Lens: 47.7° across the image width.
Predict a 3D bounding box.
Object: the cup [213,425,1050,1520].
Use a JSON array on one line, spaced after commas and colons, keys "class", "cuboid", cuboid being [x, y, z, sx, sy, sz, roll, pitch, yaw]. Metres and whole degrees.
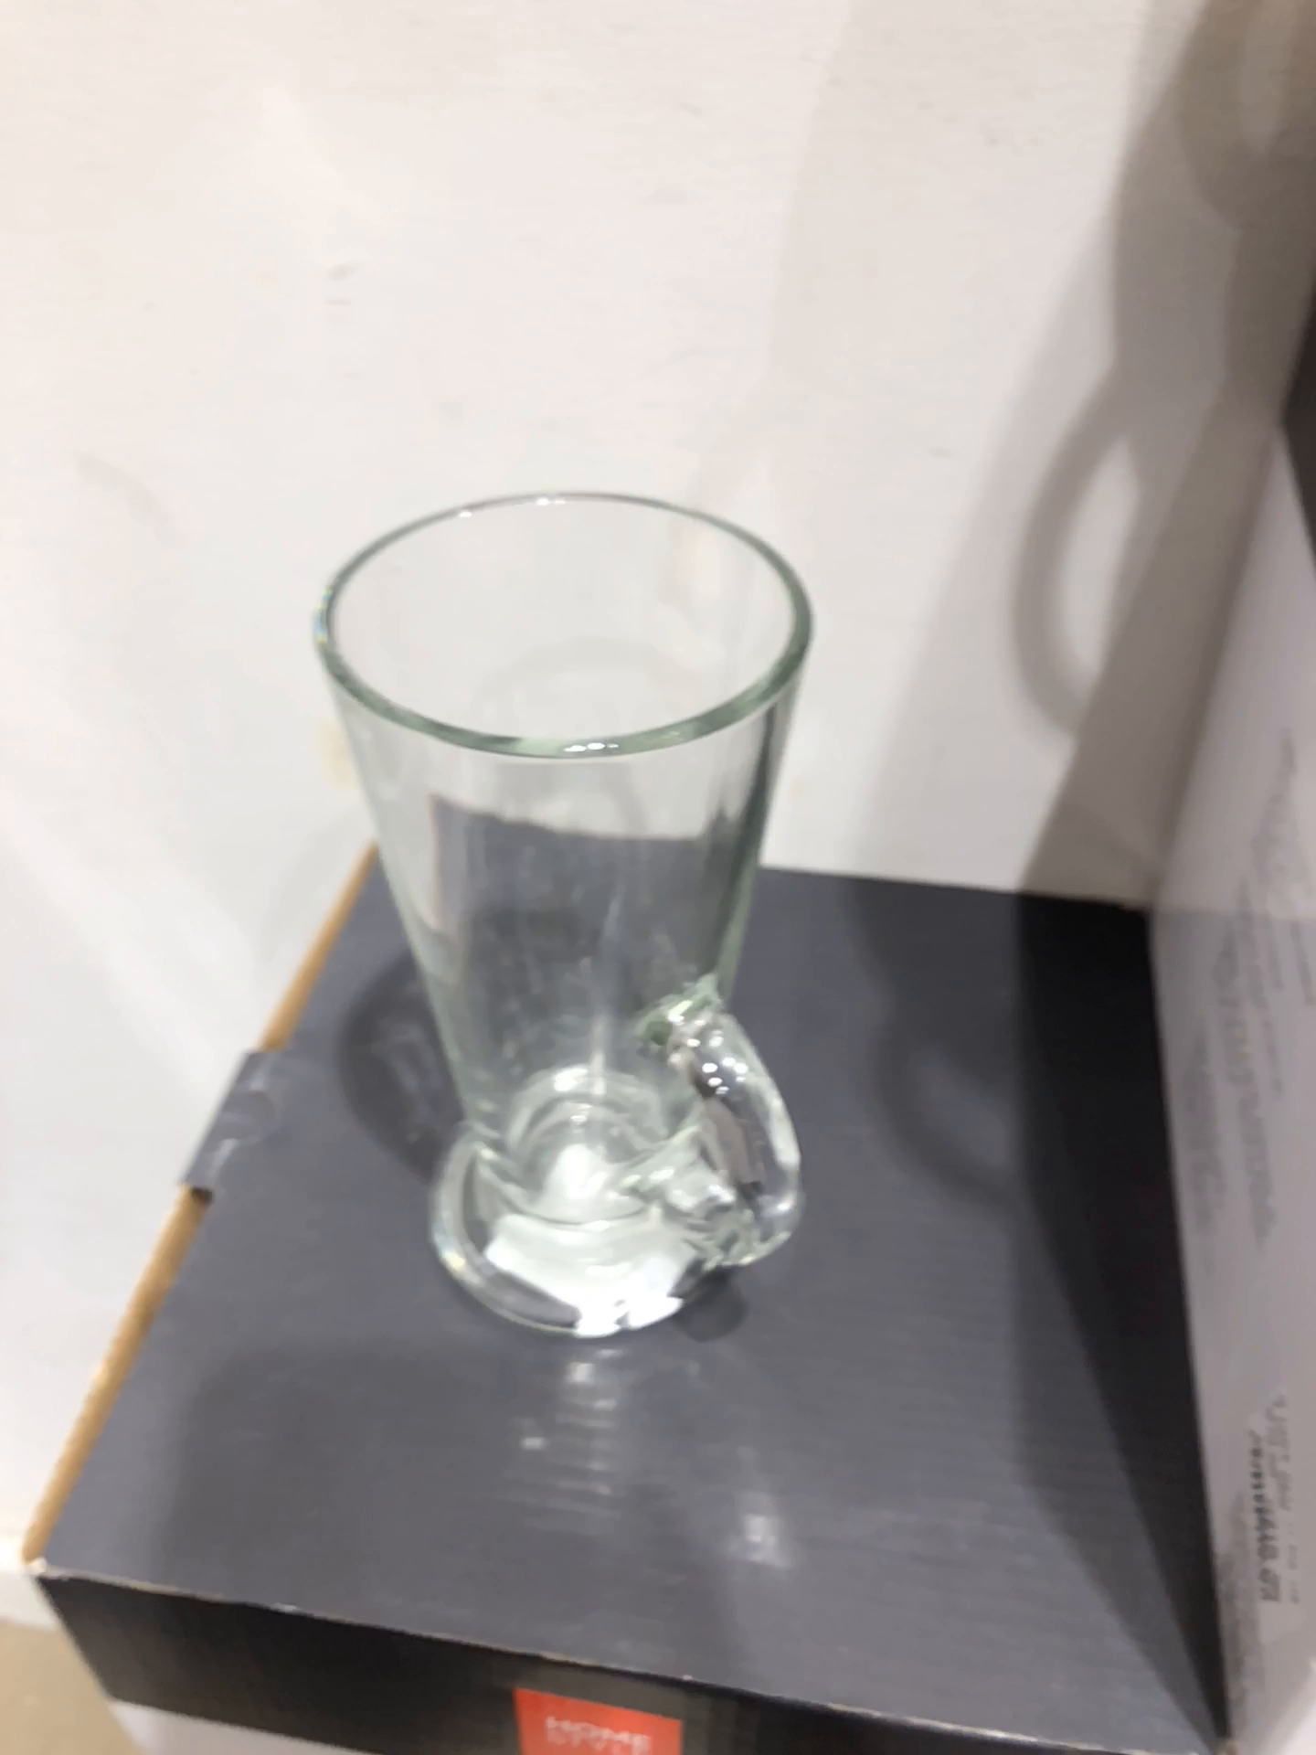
[{"class": "cup", "cuboid": [-0.005, 0.018, 0.260, 0.080, 0.149, 0.090, -28, 49, -27]}]
